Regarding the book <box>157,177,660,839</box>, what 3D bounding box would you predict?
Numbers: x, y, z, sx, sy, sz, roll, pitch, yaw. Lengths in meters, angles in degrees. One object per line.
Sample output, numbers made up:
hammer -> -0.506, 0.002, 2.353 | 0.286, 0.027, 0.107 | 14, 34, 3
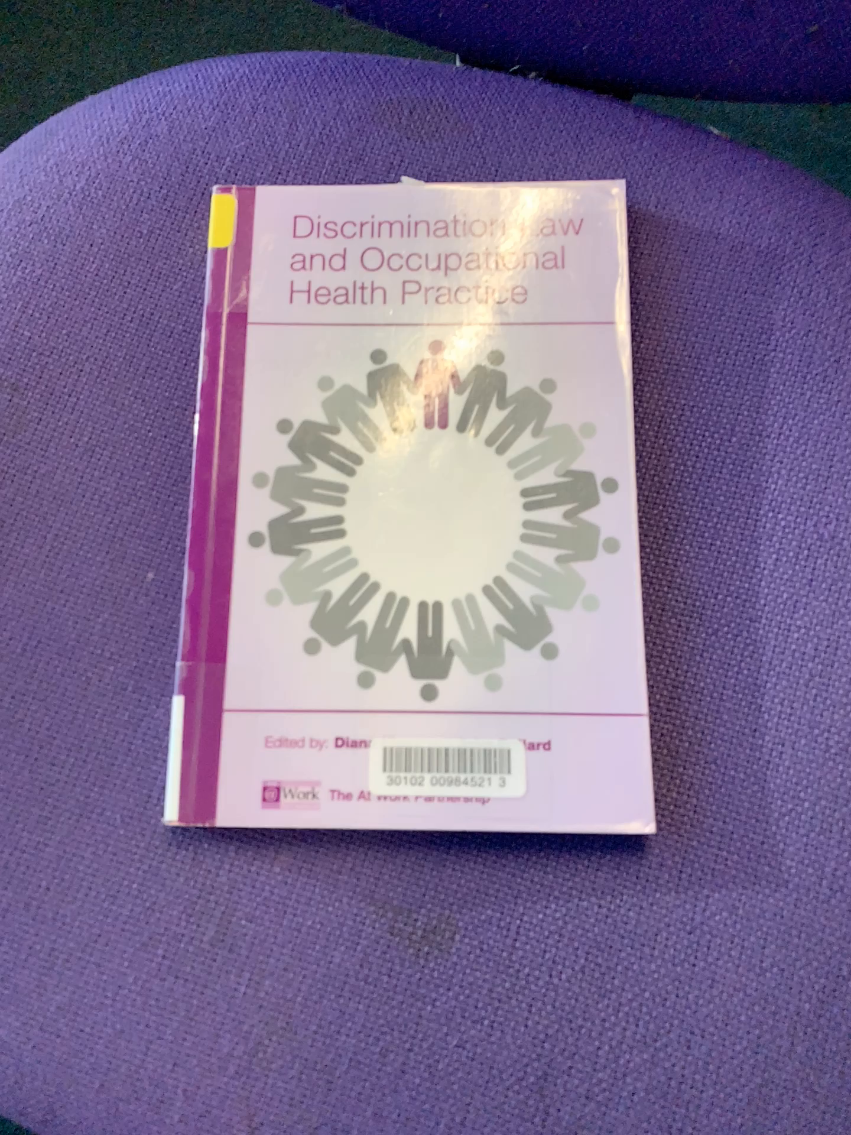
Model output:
book -> -0.005, -0.028, 0.309 | 0.157, 0.022, 0.236 | 0, 76, 2
